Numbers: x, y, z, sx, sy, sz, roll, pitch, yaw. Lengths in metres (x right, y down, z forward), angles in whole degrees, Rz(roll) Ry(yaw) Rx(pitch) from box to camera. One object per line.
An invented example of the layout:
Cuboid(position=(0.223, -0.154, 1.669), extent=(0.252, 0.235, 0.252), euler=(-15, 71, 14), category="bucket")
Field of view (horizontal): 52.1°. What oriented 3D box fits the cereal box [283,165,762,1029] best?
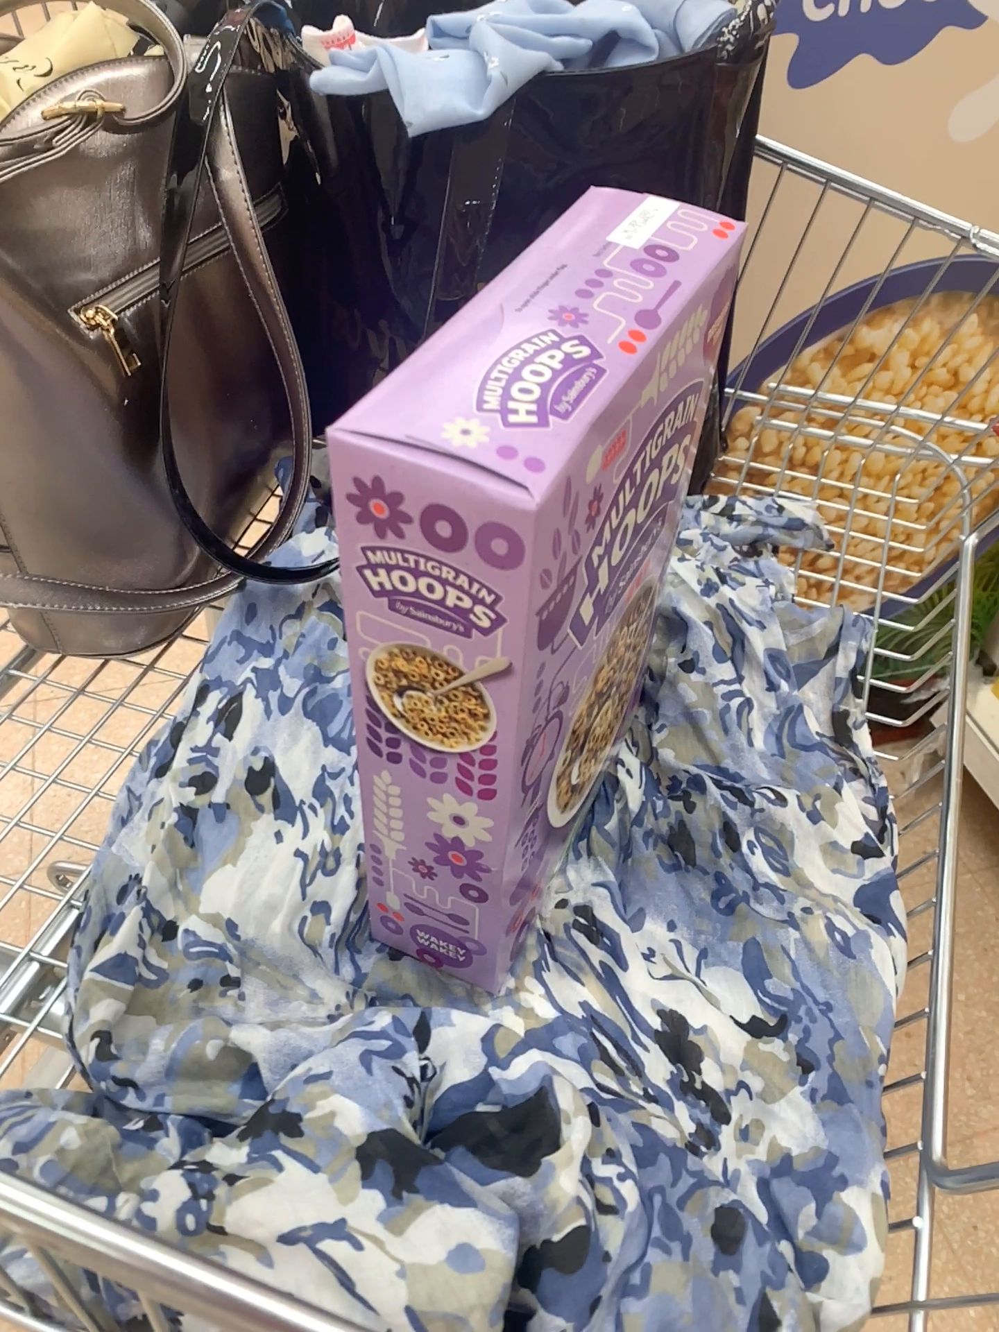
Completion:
Cuboid(position=(0.015, -0.021, 0.411), extent=(0.070, 0.267, 0.212), euler=(20, 47, 15), category="cereal box")
